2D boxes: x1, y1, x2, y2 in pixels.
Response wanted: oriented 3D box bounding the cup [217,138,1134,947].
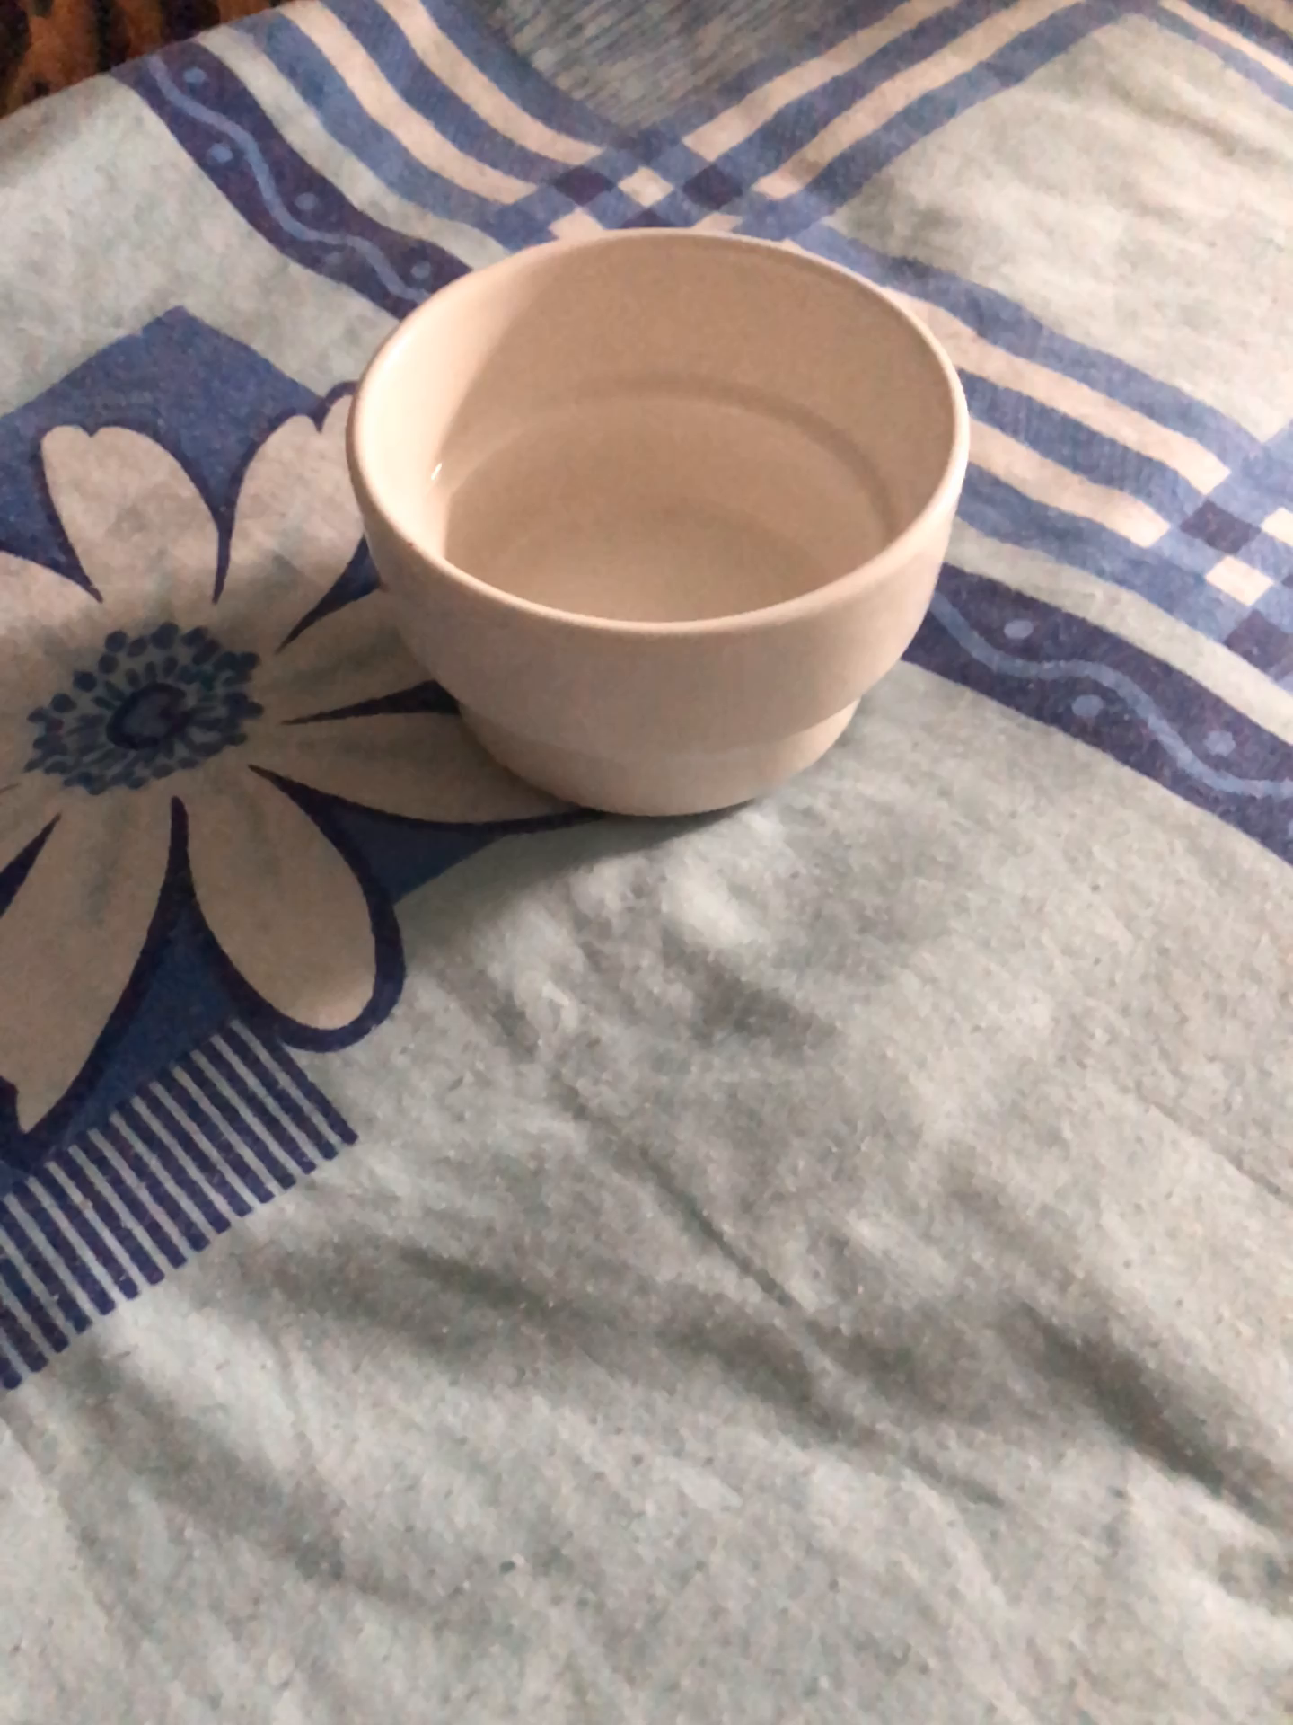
[{"bbox_3d":[0.003,-0.050,0.207,0.091,0.047,0.077,-30,63,-22],"label":"cup"}]
